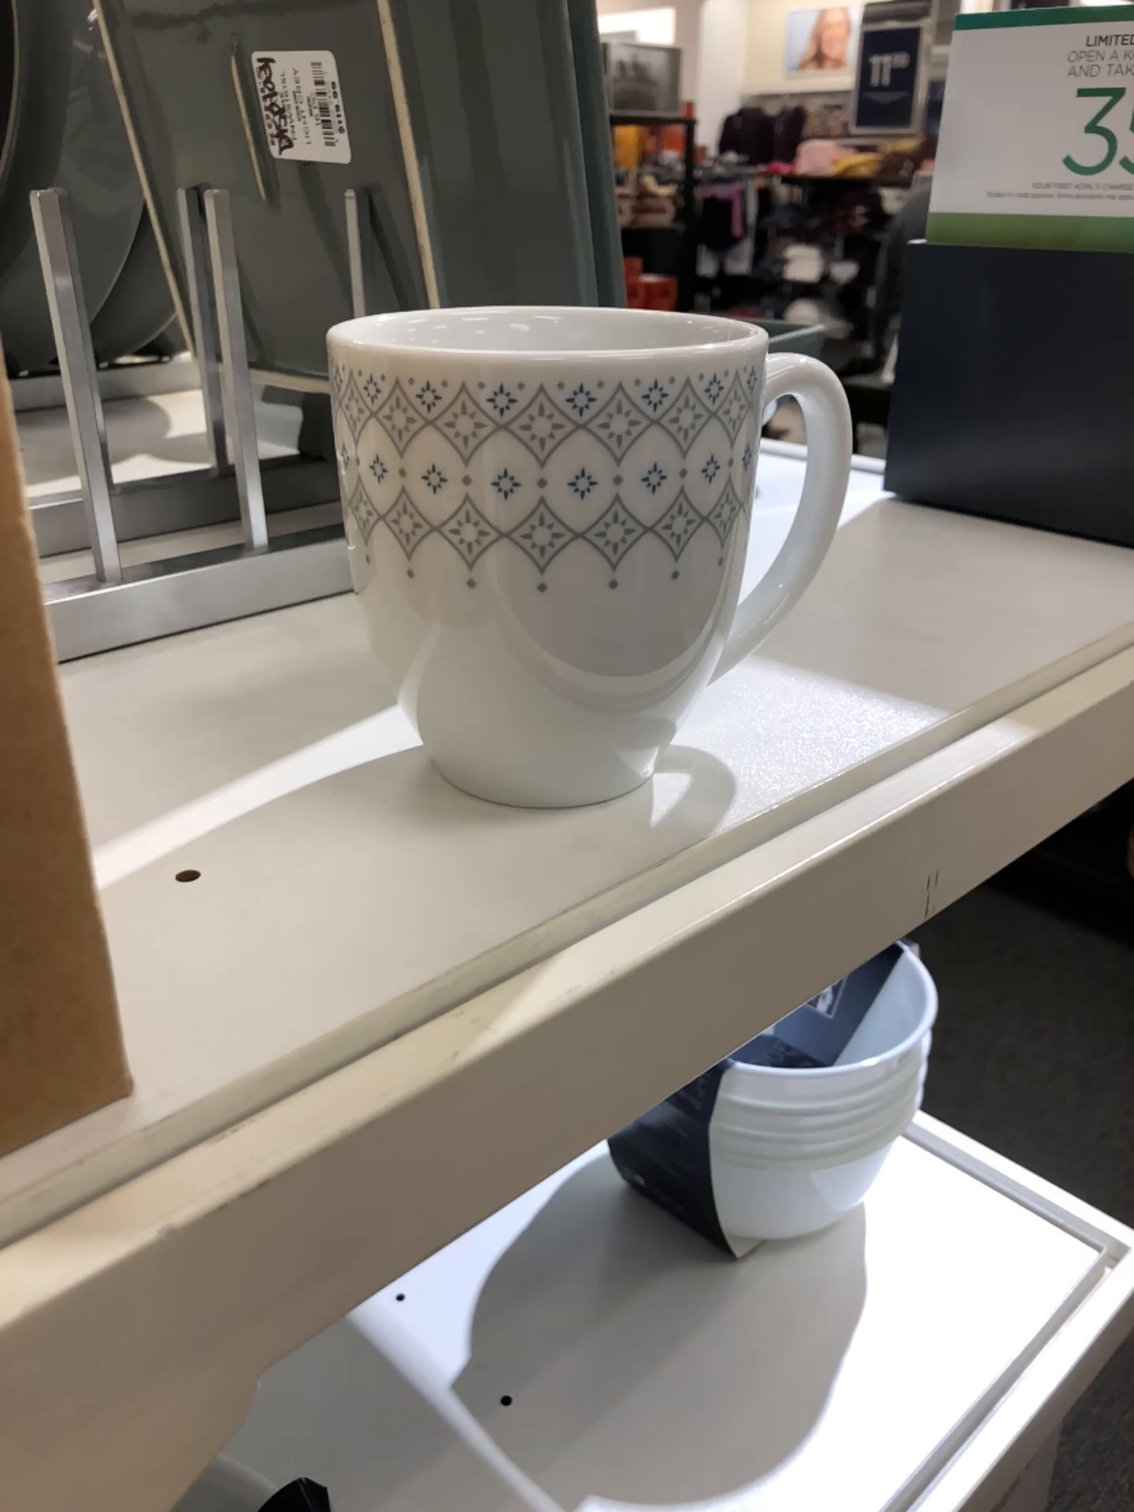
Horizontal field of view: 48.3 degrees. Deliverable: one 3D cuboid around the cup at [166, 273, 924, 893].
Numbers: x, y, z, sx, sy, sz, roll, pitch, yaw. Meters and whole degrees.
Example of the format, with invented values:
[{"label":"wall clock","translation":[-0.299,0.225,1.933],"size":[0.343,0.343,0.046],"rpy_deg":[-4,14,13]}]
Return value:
[{"label":"cup","translation":[-0.006,-0.053,0.302],"size":[0.136,0.099,0.099],"rpy_deg":[-16,31,-28]}]
